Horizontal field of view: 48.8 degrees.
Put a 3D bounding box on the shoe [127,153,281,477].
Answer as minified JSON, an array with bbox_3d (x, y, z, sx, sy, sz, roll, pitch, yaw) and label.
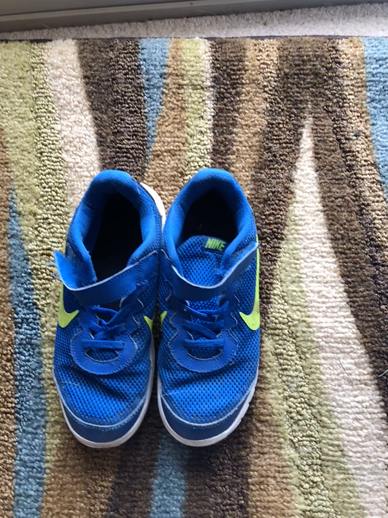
[{"bbox_3d":[0.012,0.039,0.348,0.103,0.075,0.231,2,77,1],"label":"shoe"}]

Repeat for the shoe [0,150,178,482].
[{"bbox_3d":[-0.078,0.039,0.350,0.102,0.075,0.233,5,78,2],"label":"shoe"}]
